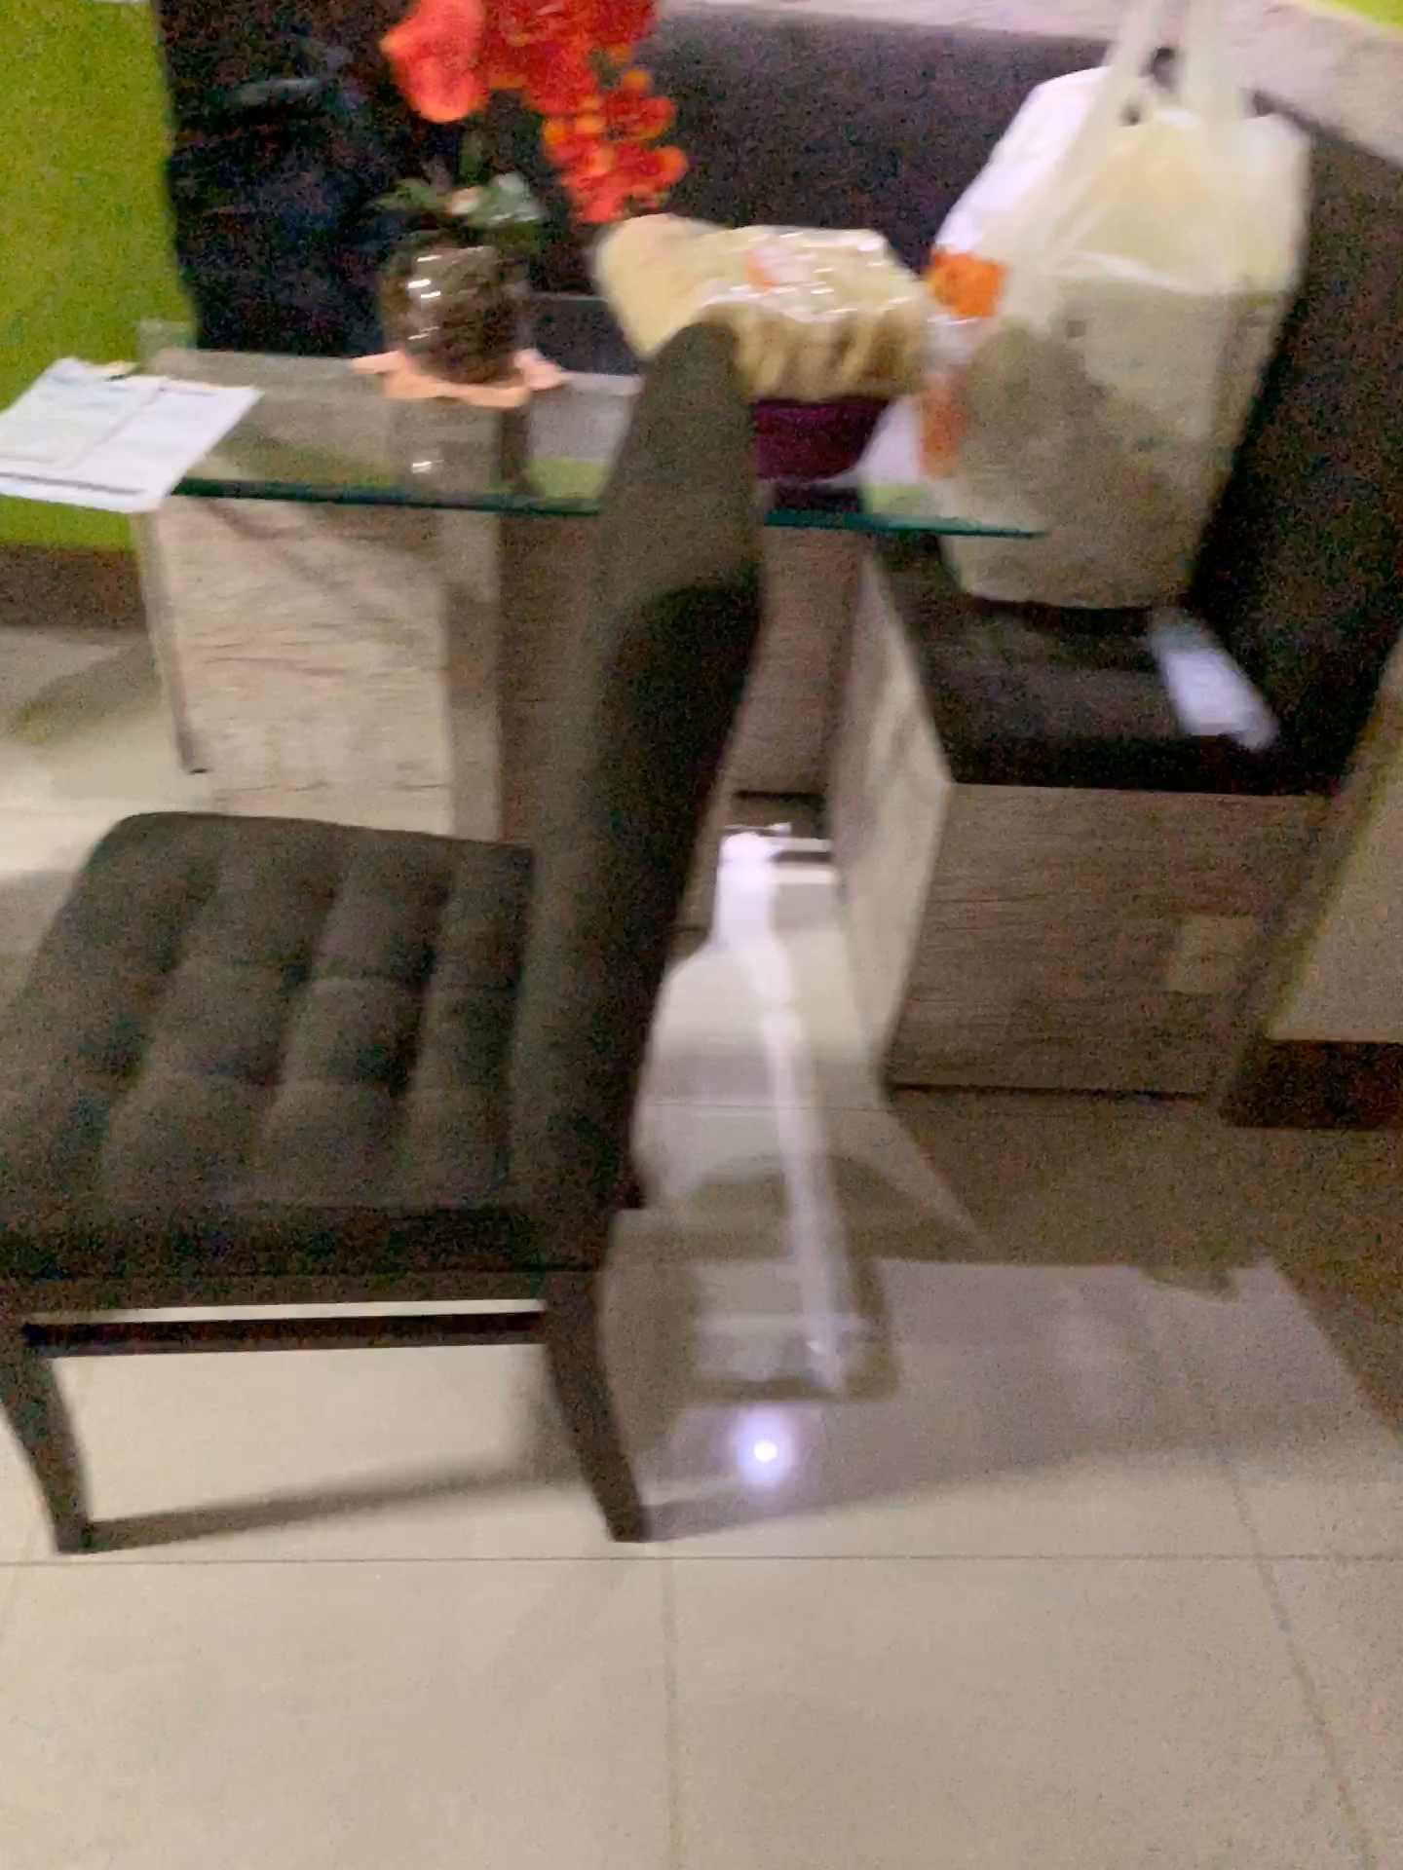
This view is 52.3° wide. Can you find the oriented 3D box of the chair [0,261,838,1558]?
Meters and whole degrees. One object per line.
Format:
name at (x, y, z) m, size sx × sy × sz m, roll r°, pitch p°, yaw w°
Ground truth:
chair at (-0.265, 0.033, 1.227) m, size 0.570 × 0.971 × 0.525 m, roll 2°, pitch 38°, yaw -5°
